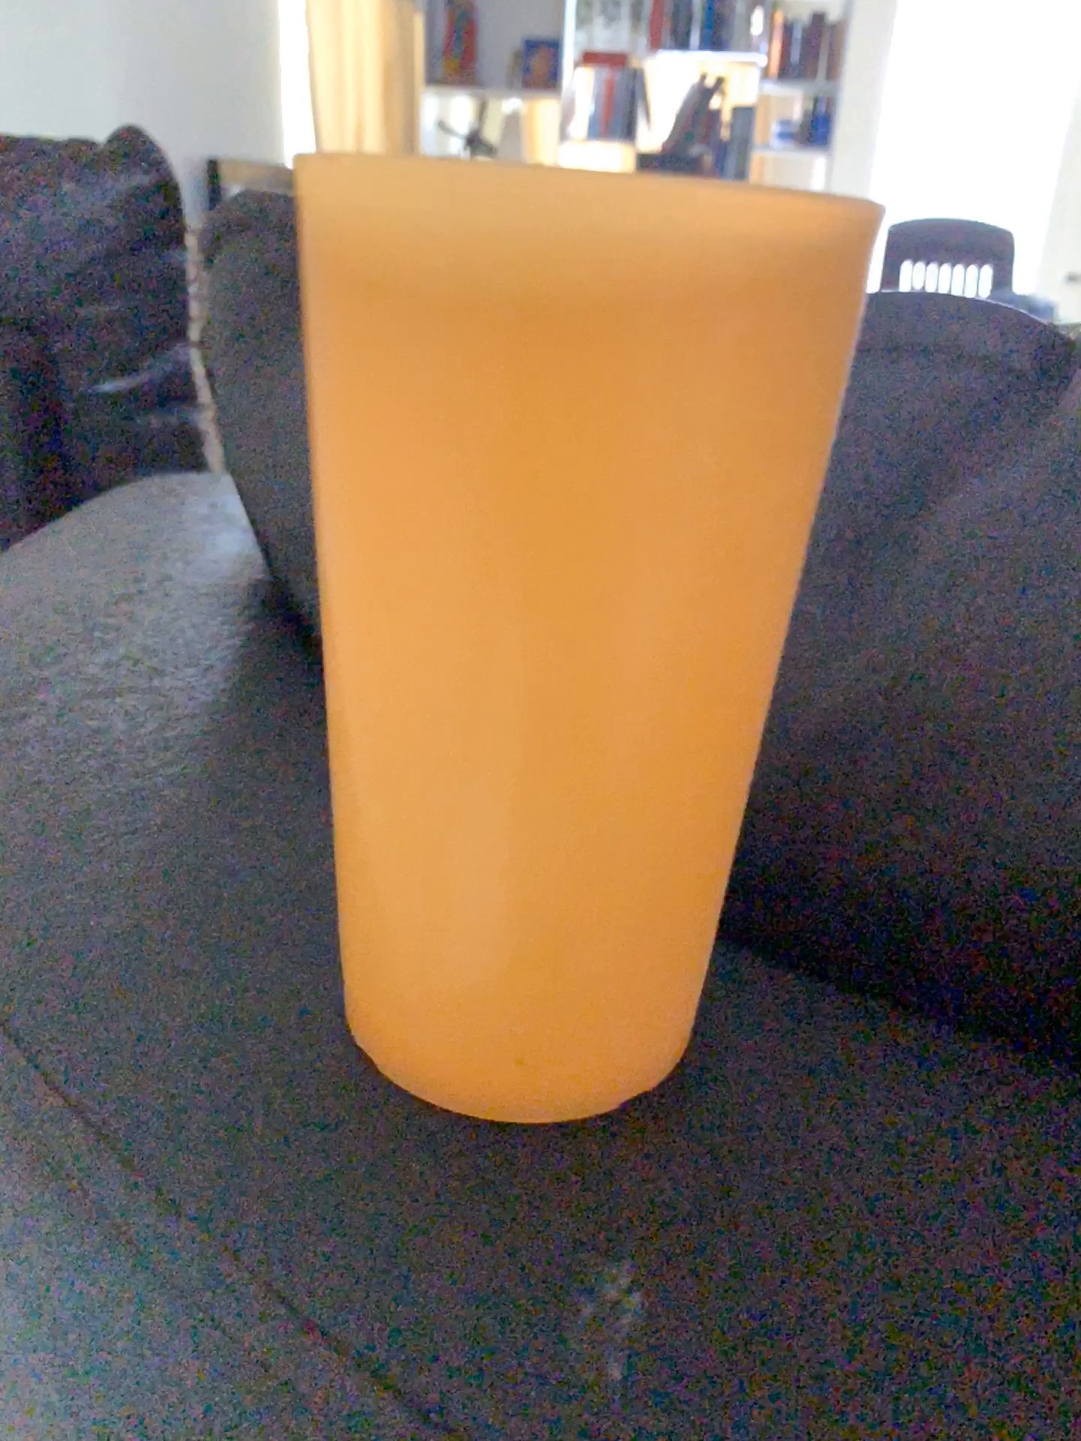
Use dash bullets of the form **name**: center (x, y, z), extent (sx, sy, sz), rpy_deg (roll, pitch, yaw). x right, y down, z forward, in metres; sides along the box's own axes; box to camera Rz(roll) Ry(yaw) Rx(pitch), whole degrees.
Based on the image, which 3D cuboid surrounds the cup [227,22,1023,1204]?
- **cup**: center (0.002, -0.016, 0.160), extent (0.070, 0.129, 0.070), rpy_deg (2, 24, -1)

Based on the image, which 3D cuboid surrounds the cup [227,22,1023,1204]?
- **cup**: center (0.002, -0.016, 0.160), extent (0.070, 0.129, 0.070), rpy_deg (2, 24, -1)
